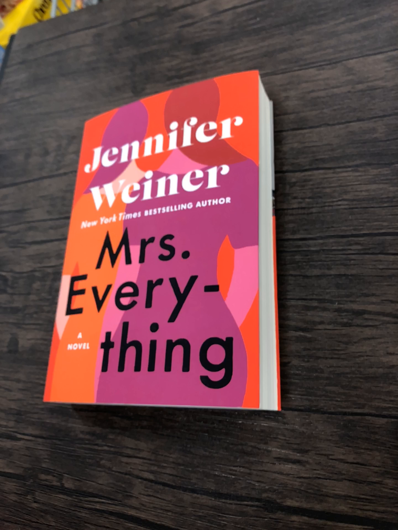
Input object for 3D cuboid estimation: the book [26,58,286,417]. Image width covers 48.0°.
[{"bbox_3d":[-0.027,-0.017,0.320,0.161,0.046,0.232,-6,69,23],"label":"book"}]
